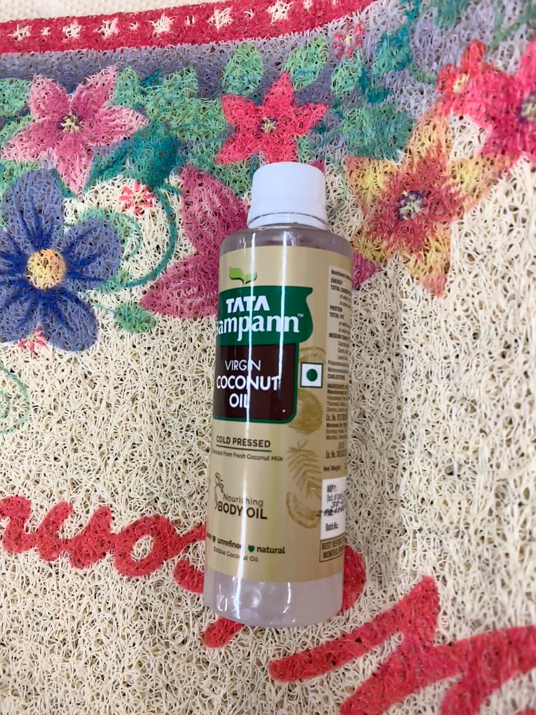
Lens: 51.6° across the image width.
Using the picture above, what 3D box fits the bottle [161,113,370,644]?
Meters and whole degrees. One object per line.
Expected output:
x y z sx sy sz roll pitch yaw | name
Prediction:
0.000 0.004 0.171 0.050 0.030 0.140 1 86 27 | bottle
